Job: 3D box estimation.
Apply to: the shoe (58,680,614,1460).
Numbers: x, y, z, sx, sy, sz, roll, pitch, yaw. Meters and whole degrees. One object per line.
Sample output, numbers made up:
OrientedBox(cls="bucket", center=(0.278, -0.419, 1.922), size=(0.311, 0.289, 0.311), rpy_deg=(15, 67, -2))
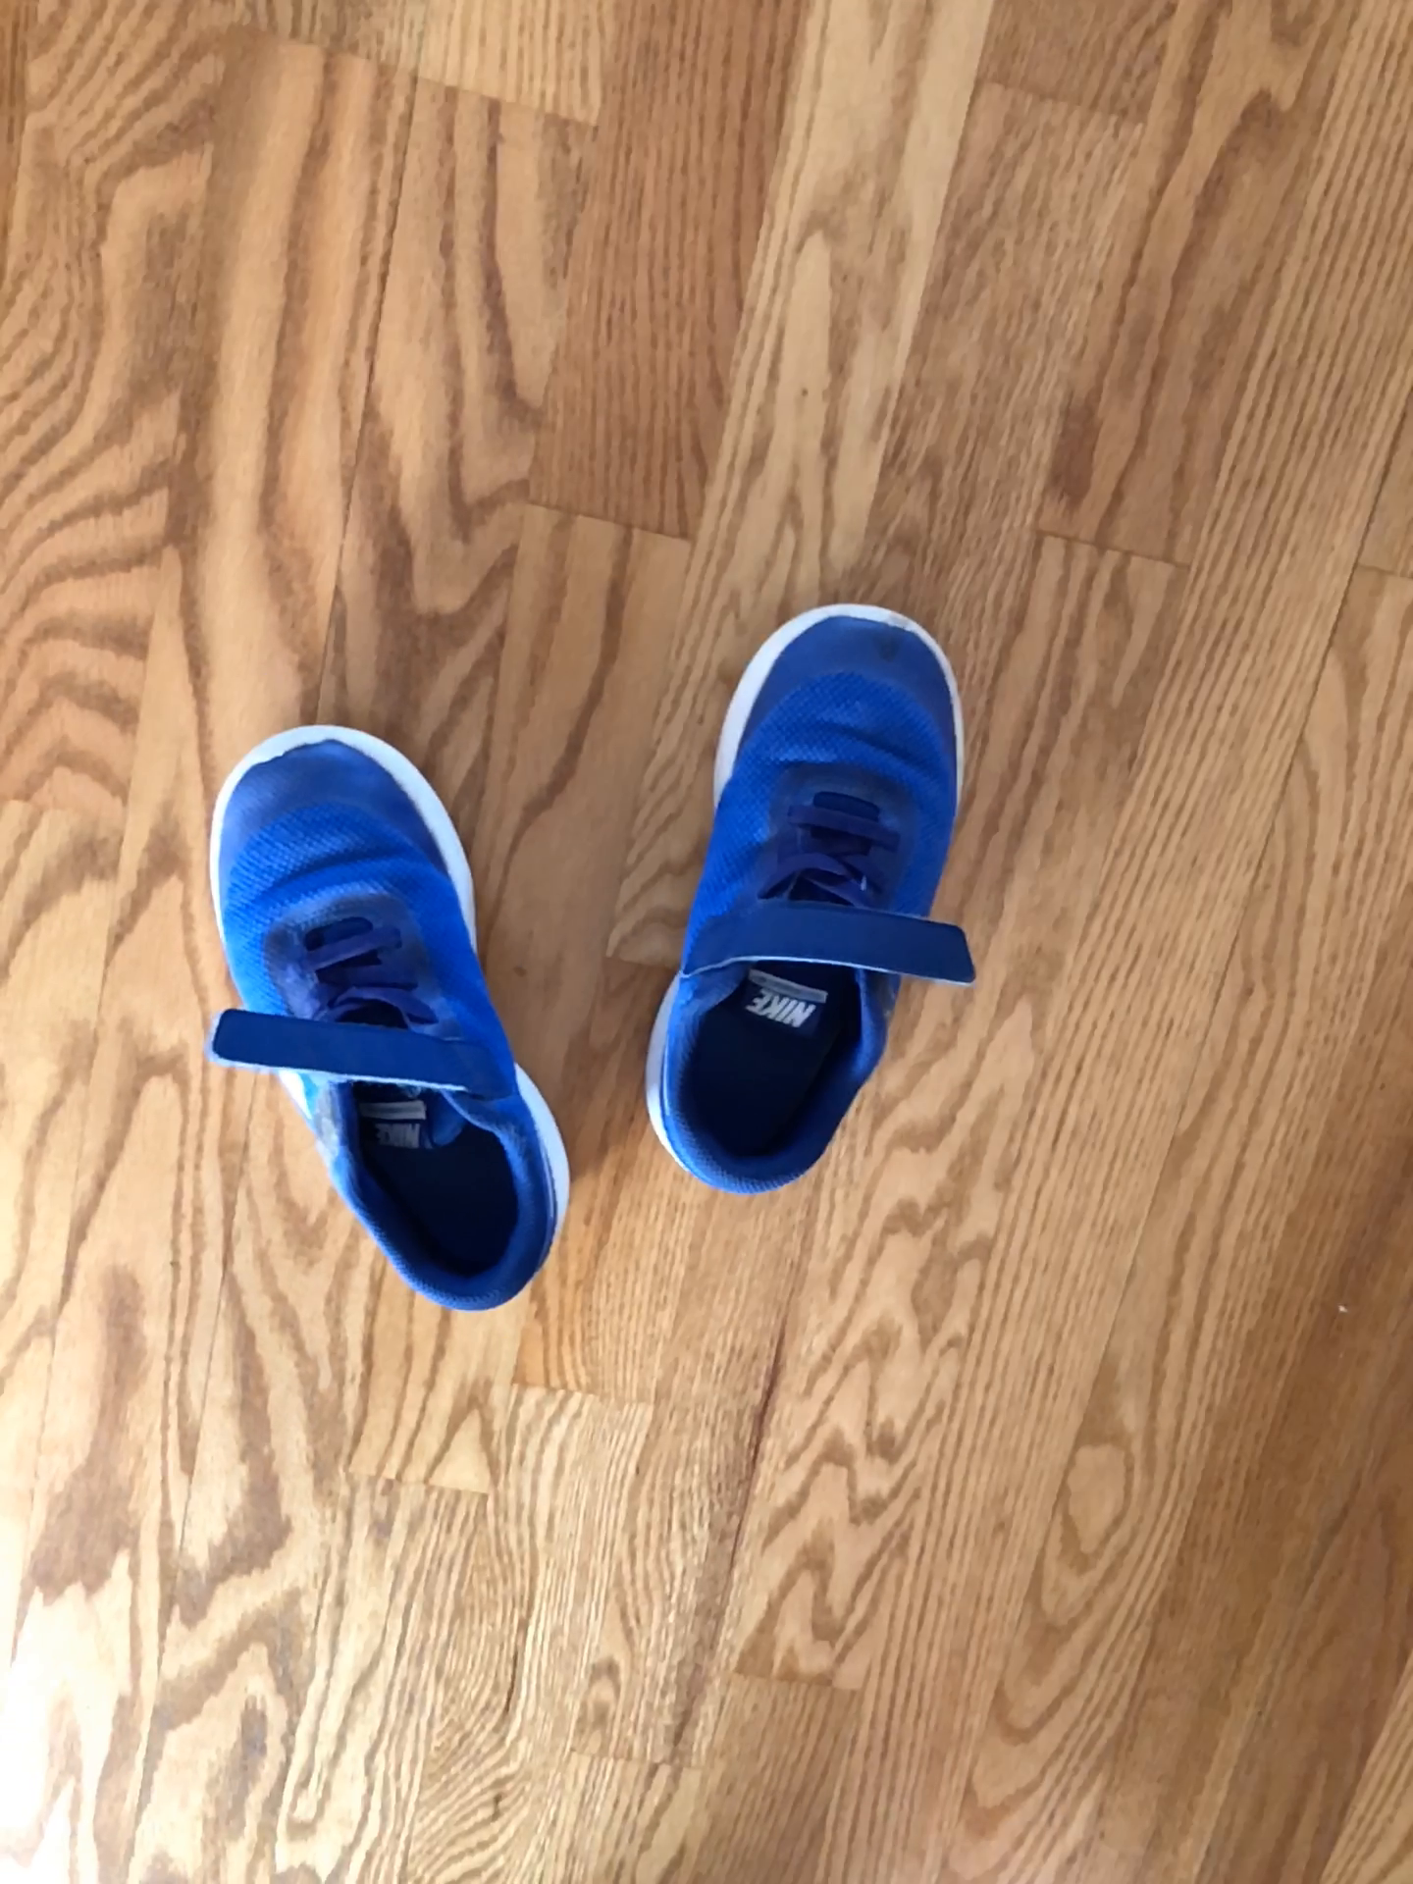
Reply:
OrientedBox(cls="shoe", center=(-0.107, 0.037, 0.501), size=(0.093, 0.092, 0.214), rpy_deg=(-17, 105, 0))

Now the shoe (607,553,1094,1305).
OrientedBox(cls="shoe", center=(0.037, -0.007, 0.507), size=(0.093, 0.092, 0.214), rpy_deg=(12, 103, -7))
